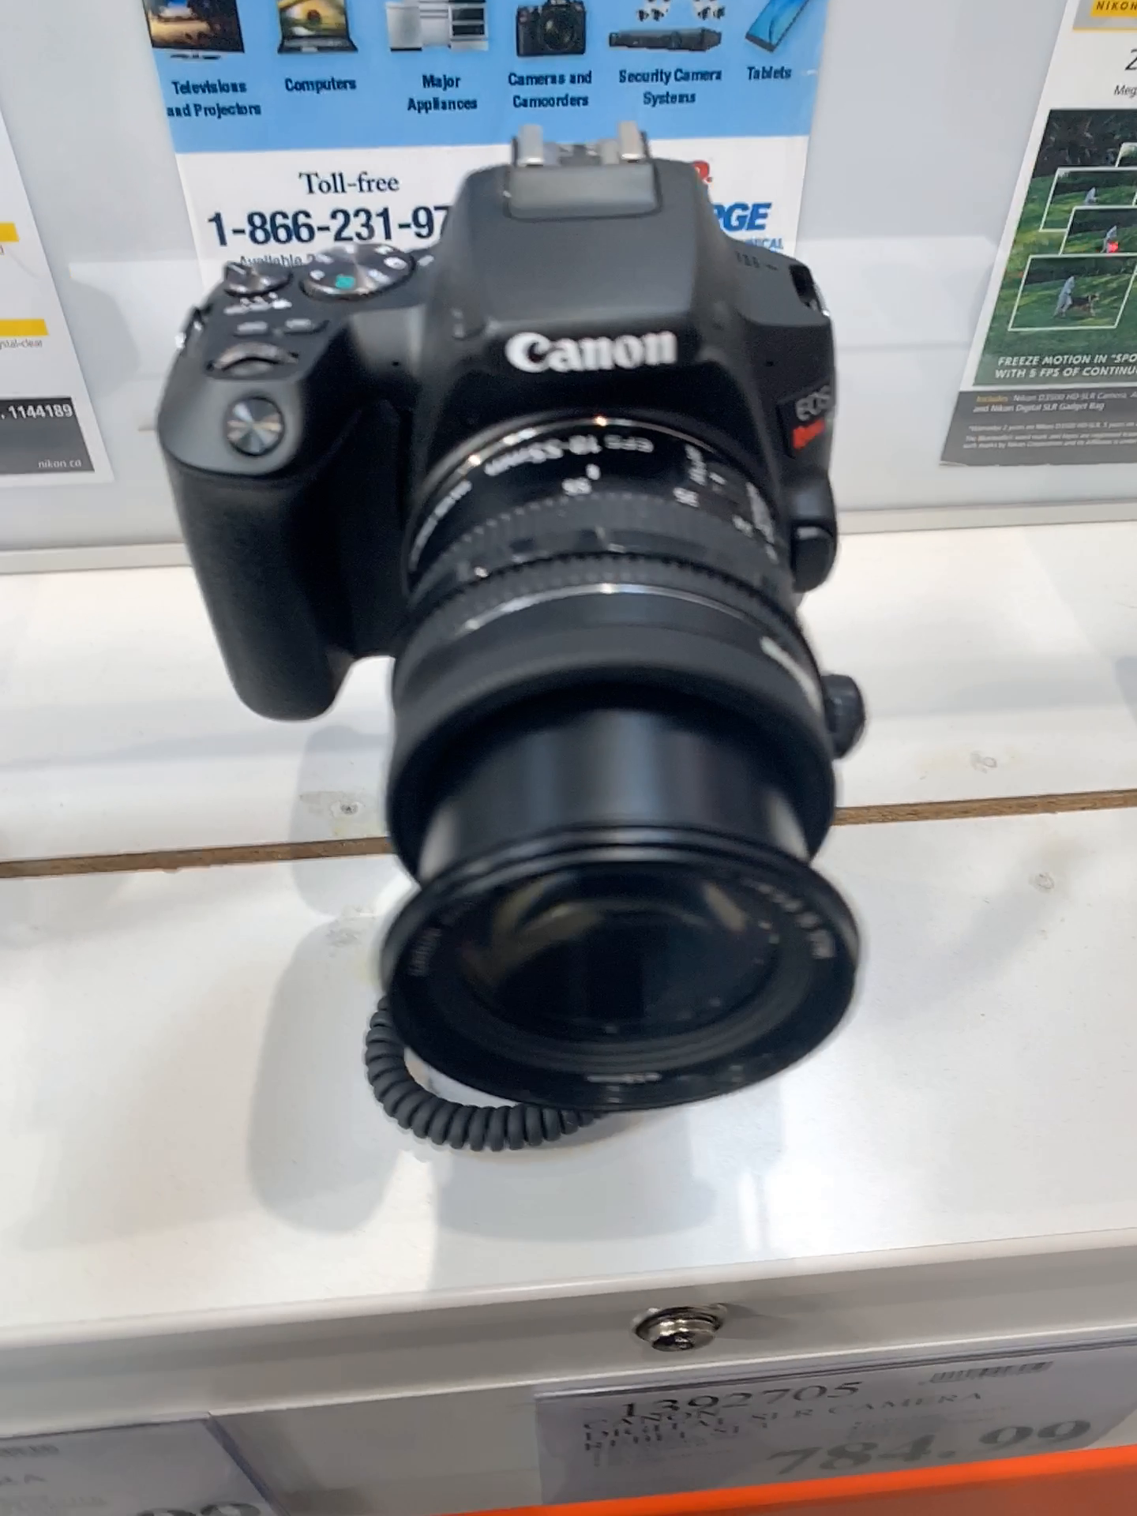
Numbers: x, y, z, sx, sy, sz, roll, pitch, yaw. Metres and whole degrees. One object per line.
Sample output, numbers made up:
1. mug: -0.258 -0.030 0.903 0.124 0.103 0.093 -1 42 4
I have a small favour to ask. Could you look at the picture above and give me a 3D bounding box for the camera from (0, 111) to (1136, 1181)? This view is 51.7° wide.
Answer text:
1. camera: 0.000 -0.029 0.175 0.119 0.079 0.141 -4 45 -4
